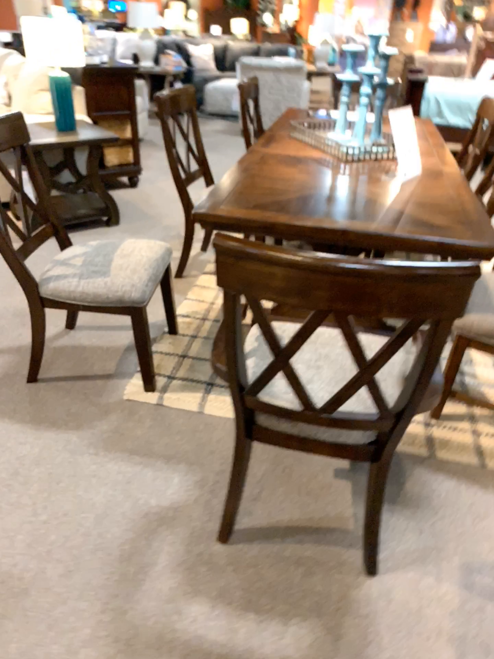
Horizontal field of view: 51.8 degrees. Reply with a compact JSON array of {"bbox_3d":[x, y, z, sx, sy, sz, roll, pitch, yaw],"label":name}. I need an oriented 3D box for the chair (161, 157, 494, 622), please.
[{"bbox_3d":[0.180,0.113,1.315,0.545,0.896,0.657,9,32,11],"label":"chair"}]

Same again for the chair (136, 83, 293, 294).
[{"bbox_3d":[-0.154,-0.745,2.677,0.644,0.916,0.468,9,32,11],"label":"chair"}]

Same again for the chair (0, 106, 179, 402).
[{"bbox_3d":[-0.634,-0.279,1.882,0.644,0.916,0.508,5,31,3],"label":"chair"}]

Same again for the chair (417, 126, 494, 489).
[{"bbox_3d":[1.034,-0.096,1.677,0.645,0.936,0.507,16,34,21],"label":"chair"}]
